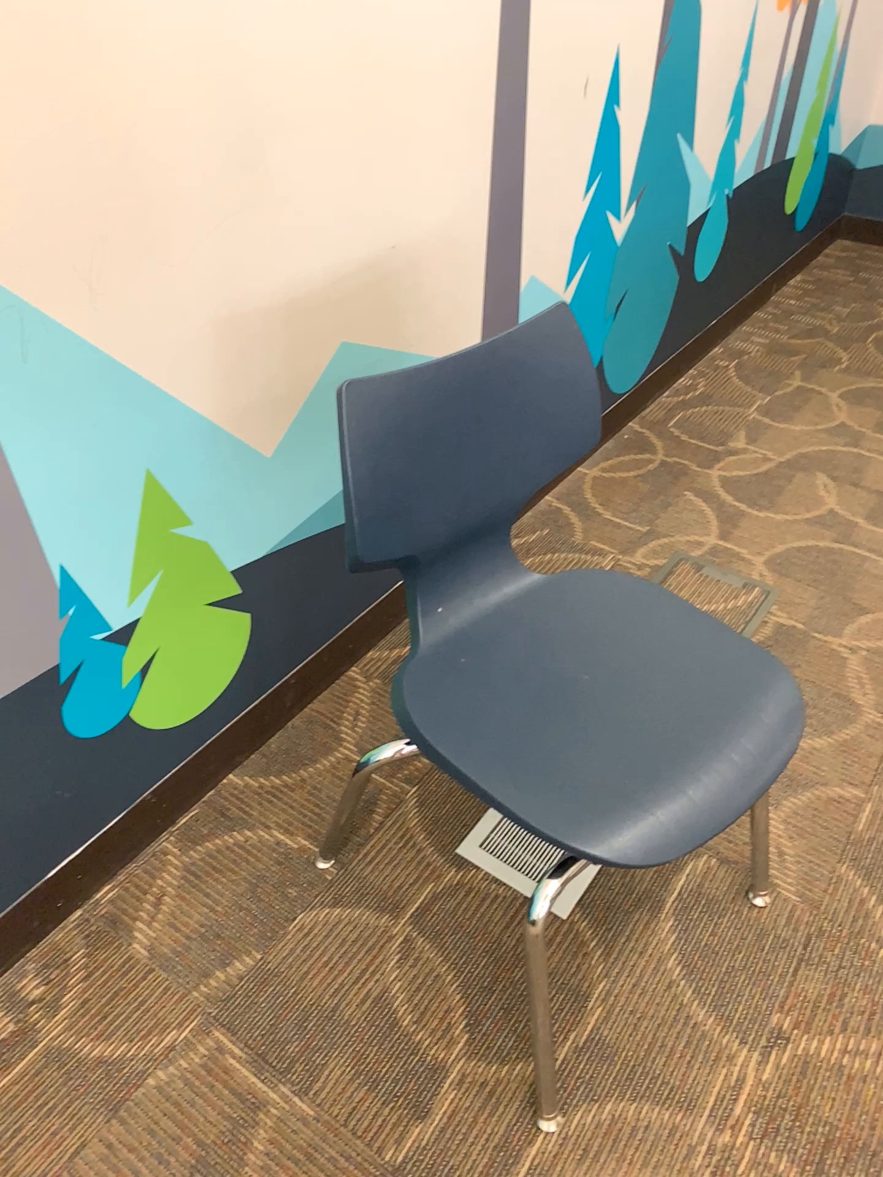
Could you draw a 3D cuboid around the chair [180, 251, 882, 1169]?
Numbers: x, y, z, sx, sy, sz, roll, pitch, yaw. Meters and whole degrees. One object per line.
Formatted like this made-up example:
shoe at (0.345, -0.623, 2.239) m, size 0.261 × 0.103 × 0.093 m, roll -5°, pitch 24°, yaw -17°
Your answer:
chair at (0.147, 0.104, 1.094) m, size 0.571 × 0.746 × 0.582 m, roll -29°, pitch 47°, yaw -32°
